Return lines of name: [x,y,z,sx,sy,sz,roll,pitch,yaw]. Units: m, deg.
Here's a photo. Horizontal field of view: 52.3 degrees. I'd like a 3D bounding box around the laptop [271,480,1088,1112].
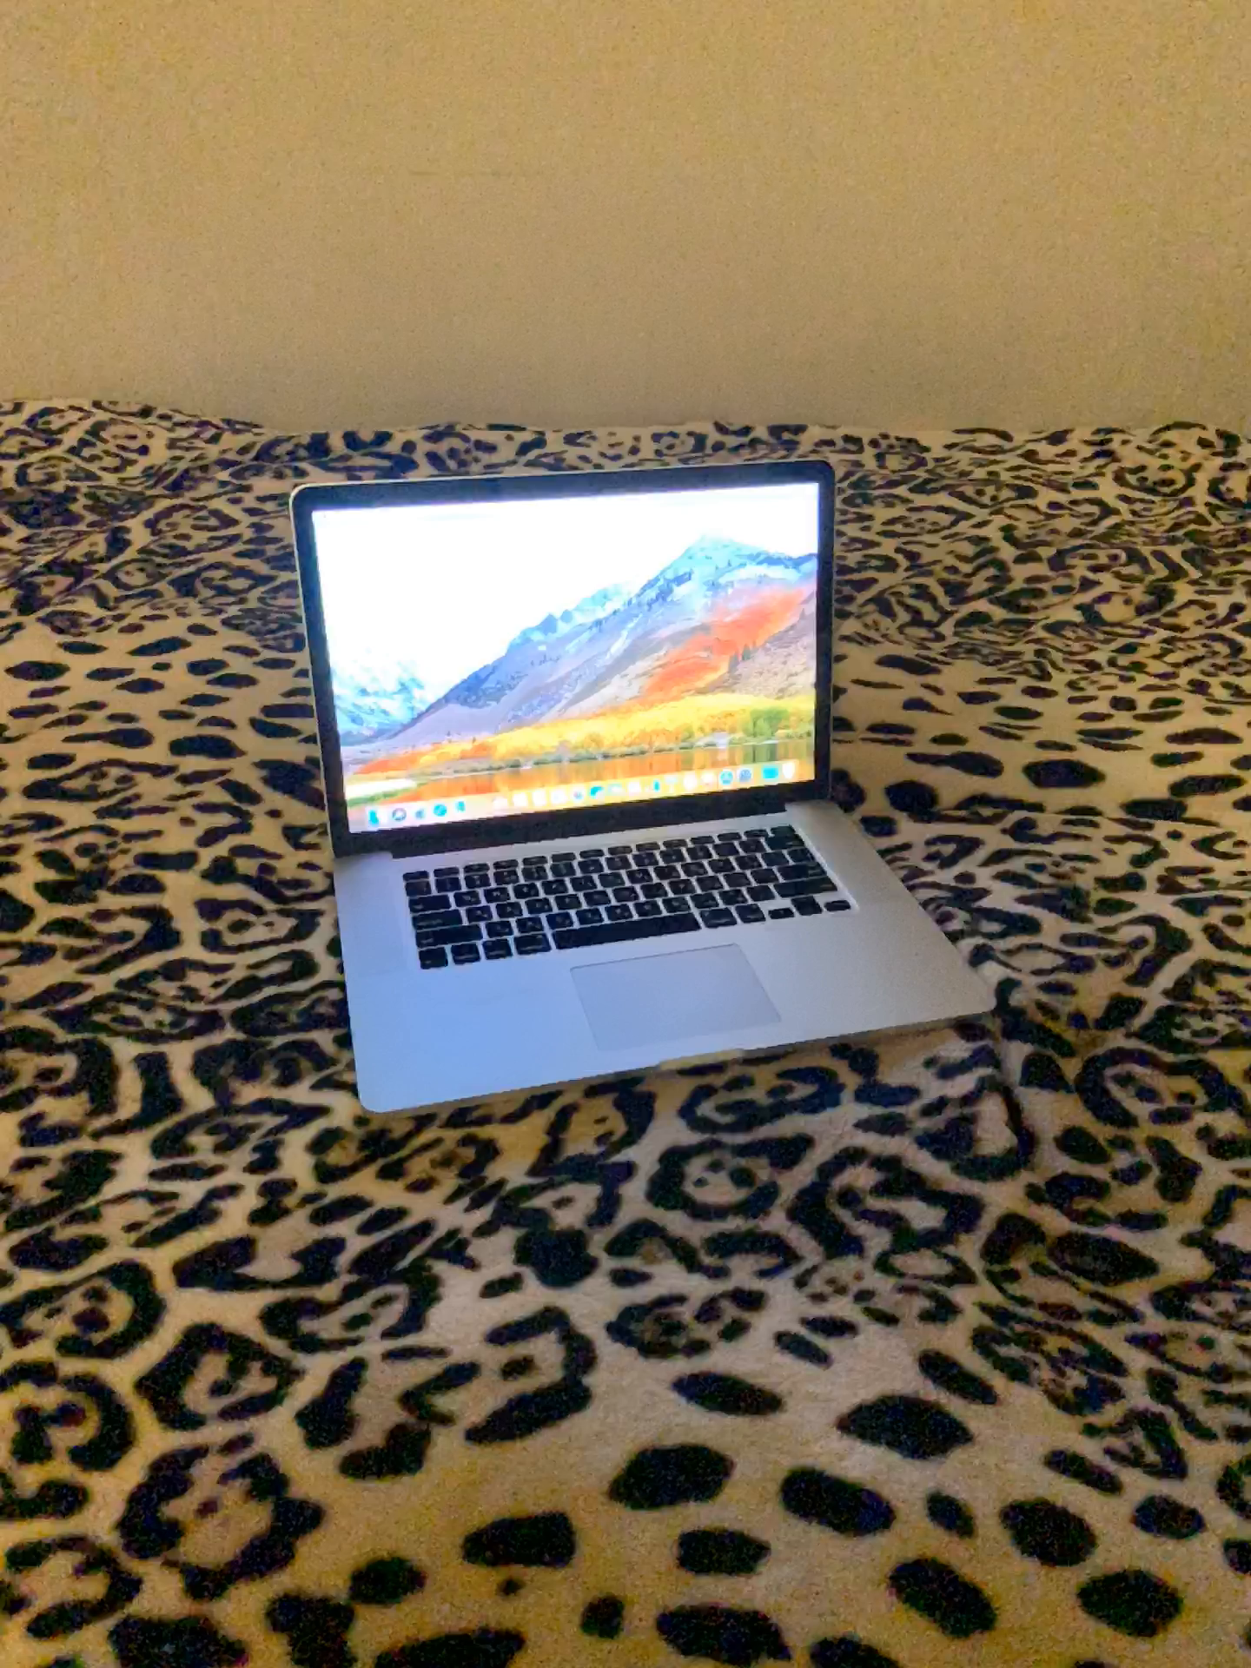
laptop: [0.000,-0.046,0.730,0.348,0.222,0.301,-7,34,-13]
